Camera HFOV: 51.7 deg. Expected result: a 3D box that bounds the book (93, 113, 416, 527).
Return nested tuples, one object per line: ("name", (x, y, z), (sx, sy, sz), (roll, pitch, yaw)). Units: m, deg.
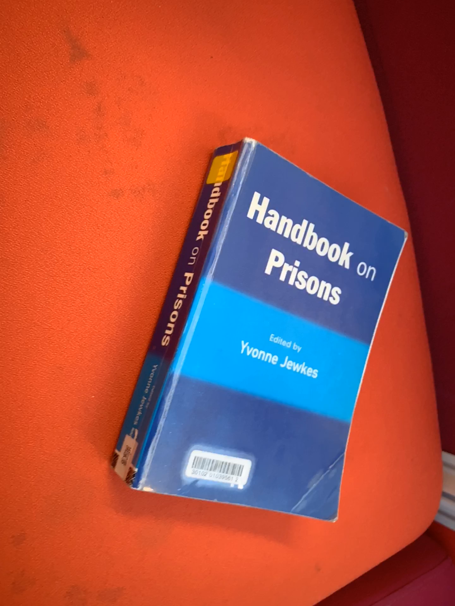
("book", (0.038, 0.025, 0.388), (0.201, 0.060, 0.270), (23, 79, -29))
